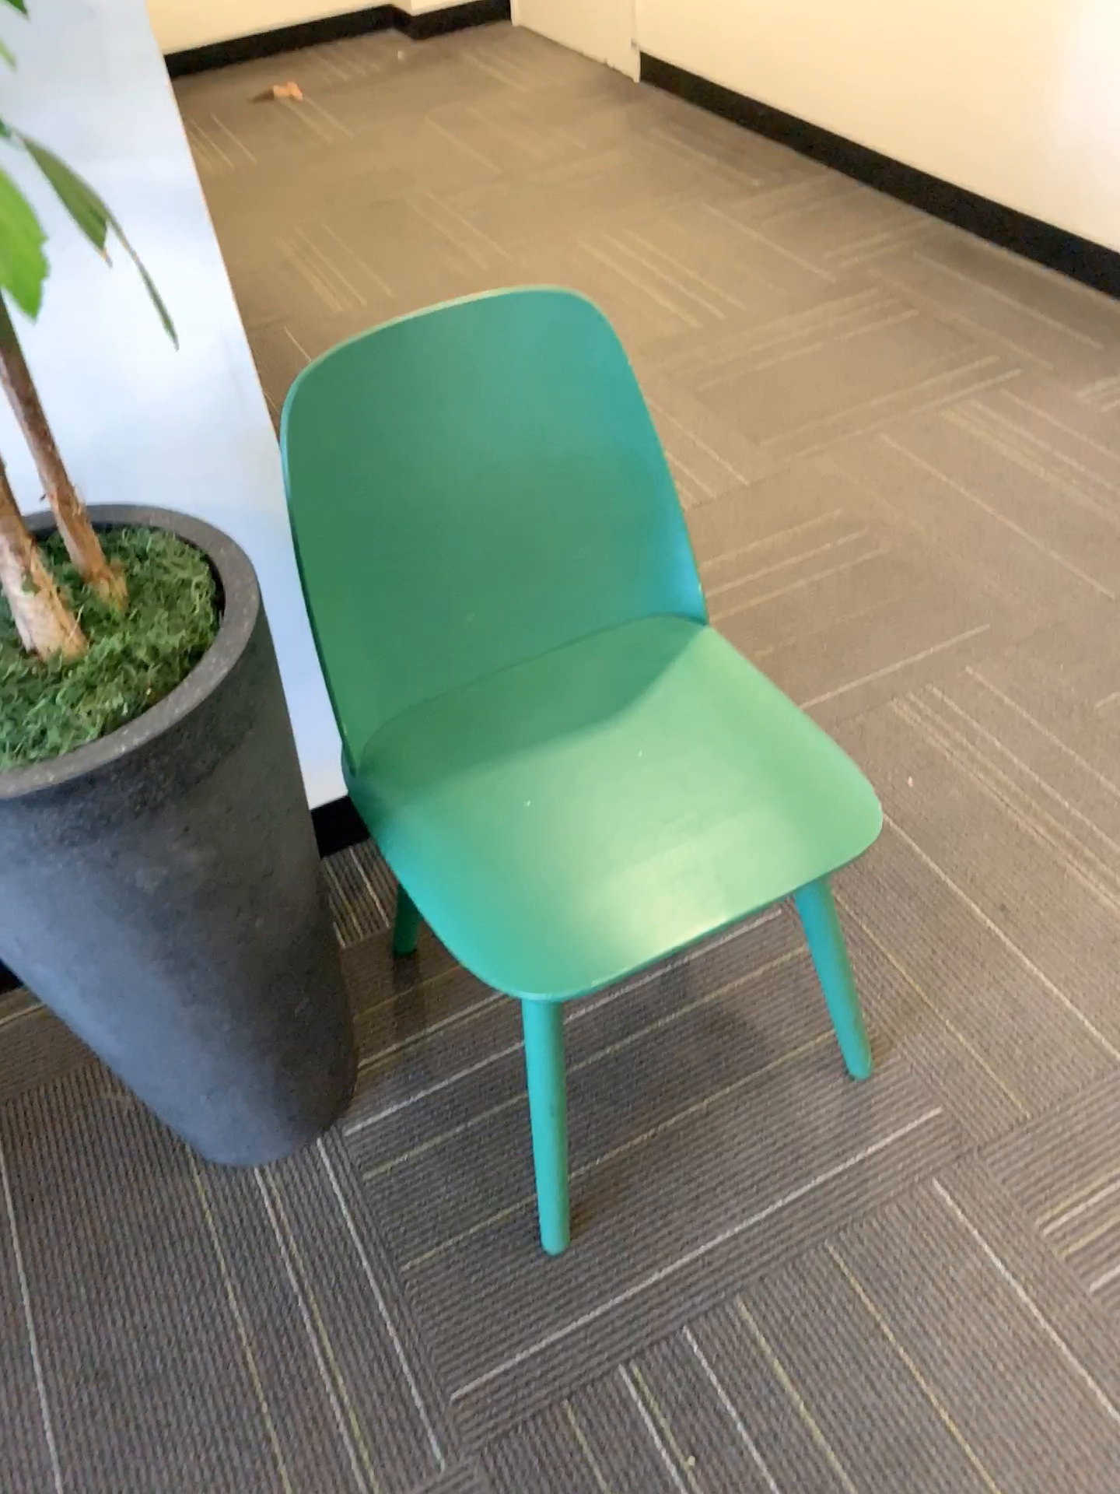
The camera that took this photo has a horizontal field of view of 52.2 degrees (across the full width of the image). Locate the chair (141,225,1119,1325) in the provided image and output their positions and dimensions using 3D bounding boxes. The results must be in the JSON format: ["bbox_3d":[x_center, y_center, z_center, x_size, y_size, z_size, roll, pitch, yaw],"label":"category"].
[{"bbox_3d":[0.028,0.029,1.120,0.500,0.746,0.604,-23,47,-15],"label":"chair"}]
